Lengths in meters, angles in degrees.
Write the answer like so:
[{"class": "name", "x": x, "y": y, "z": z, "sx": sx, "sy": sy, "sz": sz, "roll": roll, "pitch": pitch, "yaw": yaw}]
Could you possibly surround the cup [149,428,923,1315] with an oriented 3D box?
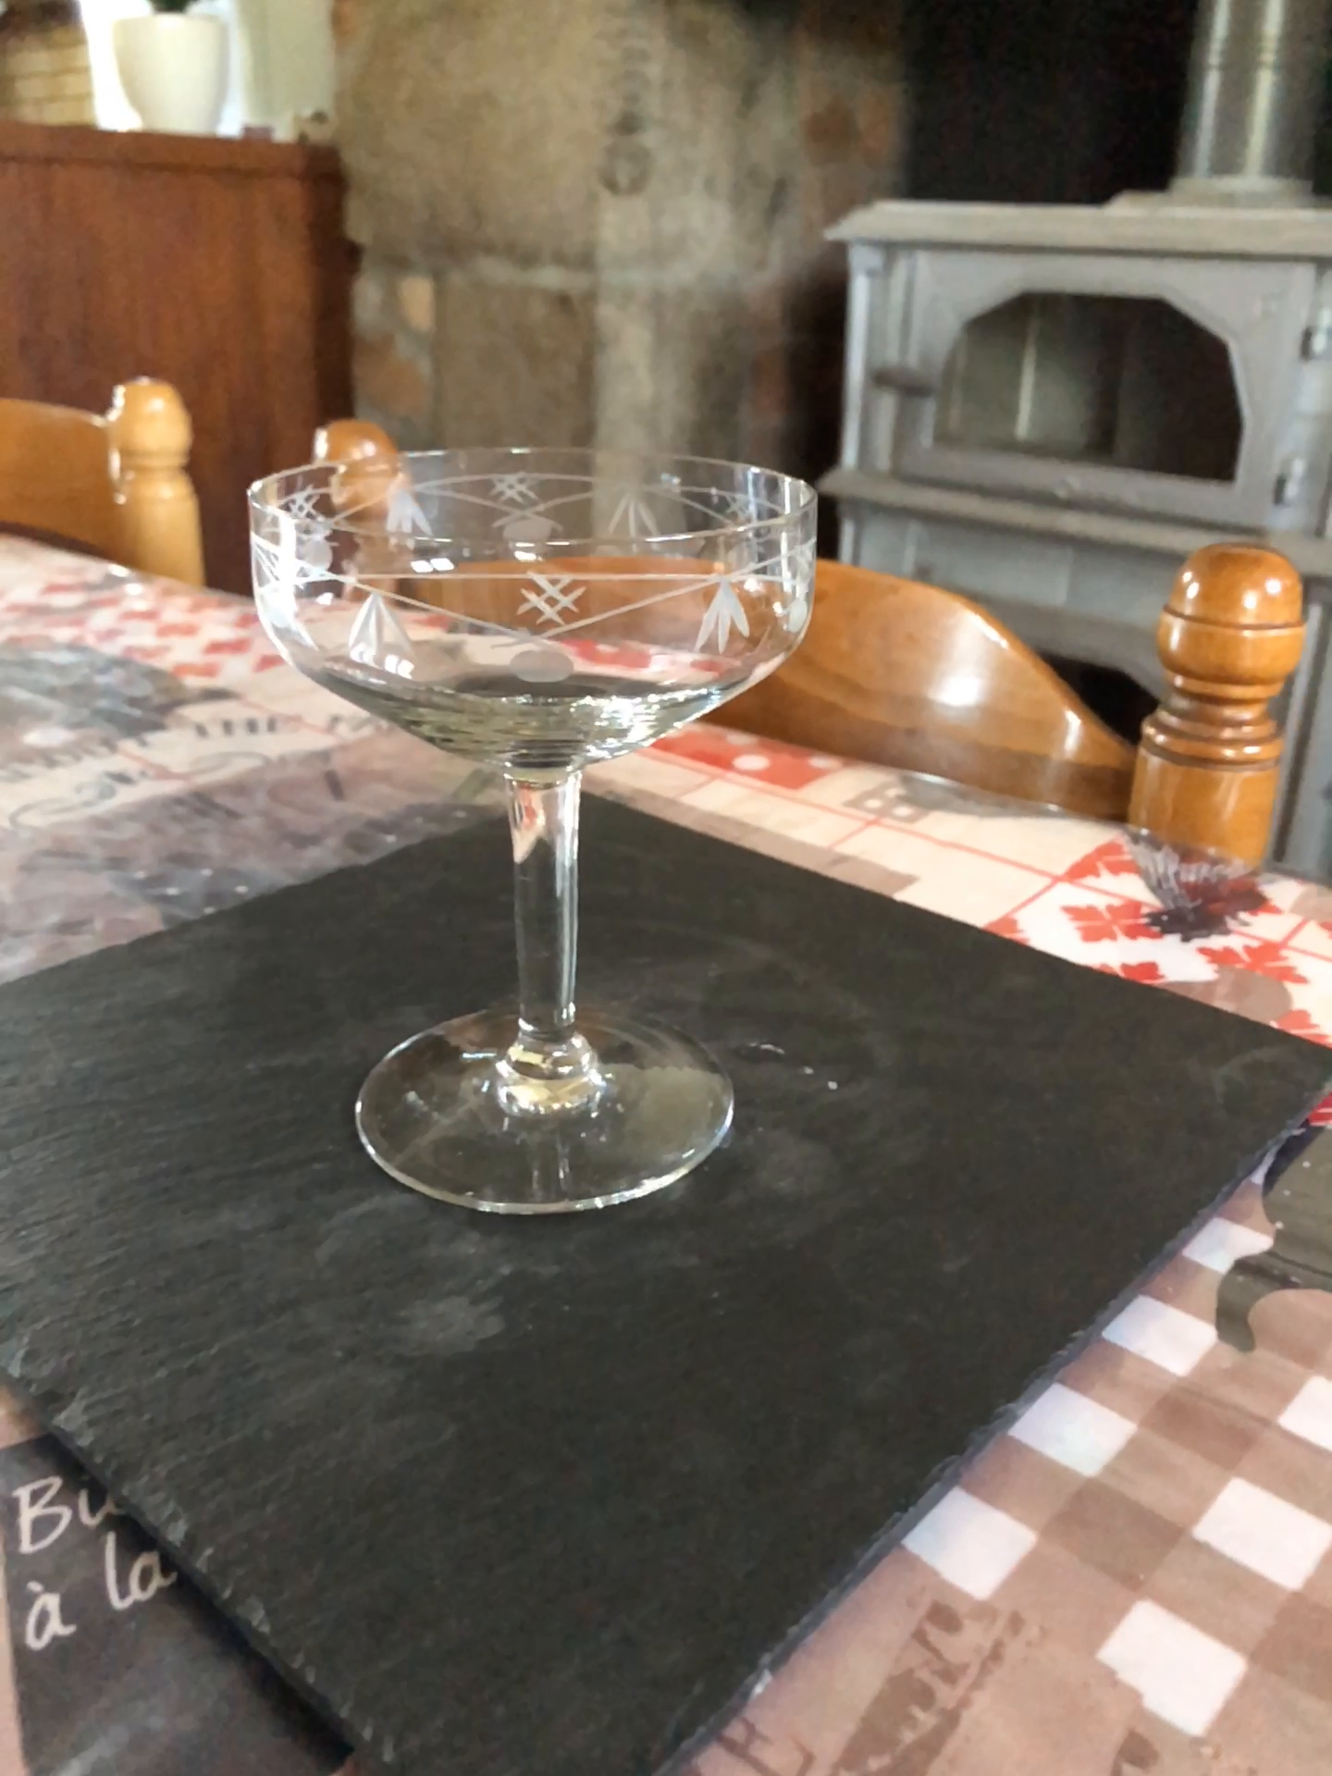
[{"class": "cup", "x": -0.019, "y": -0.013, "z": 0.266, "sx": 0.090, "sy": 0.119, "sz": 0.091, "roll": 1, "pitch": 23, "yaw": 0}]
